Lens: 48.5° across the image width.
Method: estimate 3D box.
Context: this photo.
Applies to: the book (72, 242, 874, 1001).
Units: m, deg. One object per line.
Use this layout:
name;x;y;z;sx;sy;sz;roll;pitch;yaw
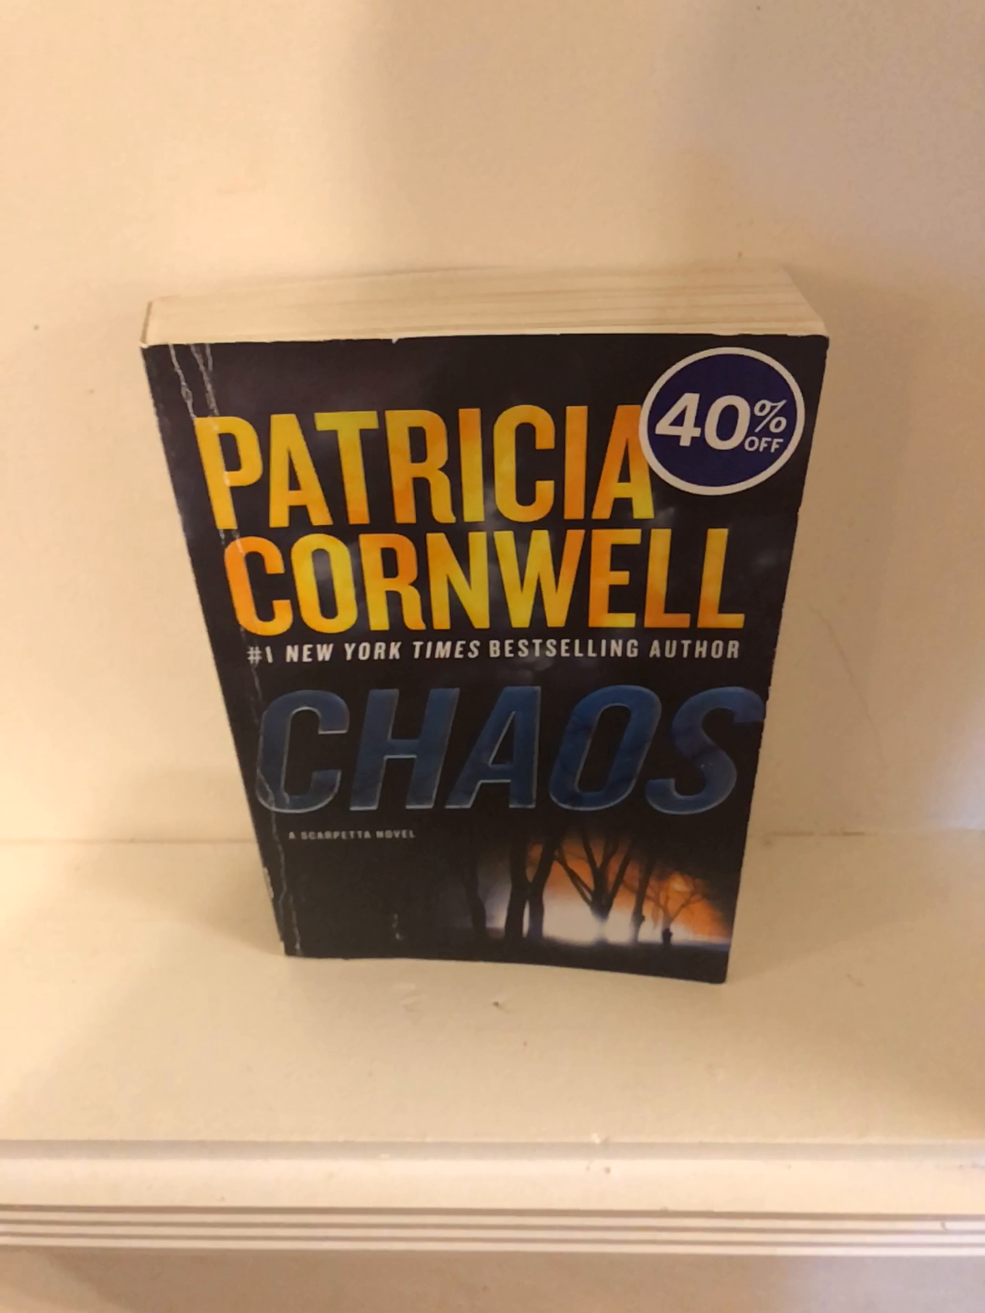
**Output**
book;-0.003;0.002;0.314;0.170;0.219;0.050;3;35;6
